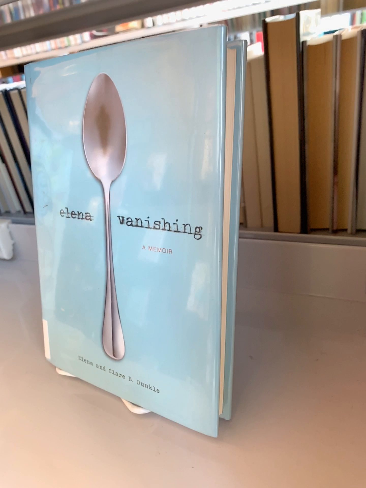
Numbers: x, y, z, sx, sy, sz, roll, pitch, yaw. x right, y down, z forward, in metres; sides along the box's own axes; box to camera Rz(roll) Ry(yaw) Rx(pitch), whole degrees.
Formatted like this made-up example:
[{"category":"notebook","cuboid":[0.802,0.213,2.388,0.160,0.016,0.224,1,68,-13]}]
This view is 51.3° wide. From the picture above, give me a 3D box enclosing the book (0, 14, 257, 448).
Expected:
[{"category":"book","cuboid":[-0.041,-0.007,0.233,0.159,0.203,0.035,8,15,33]}]
